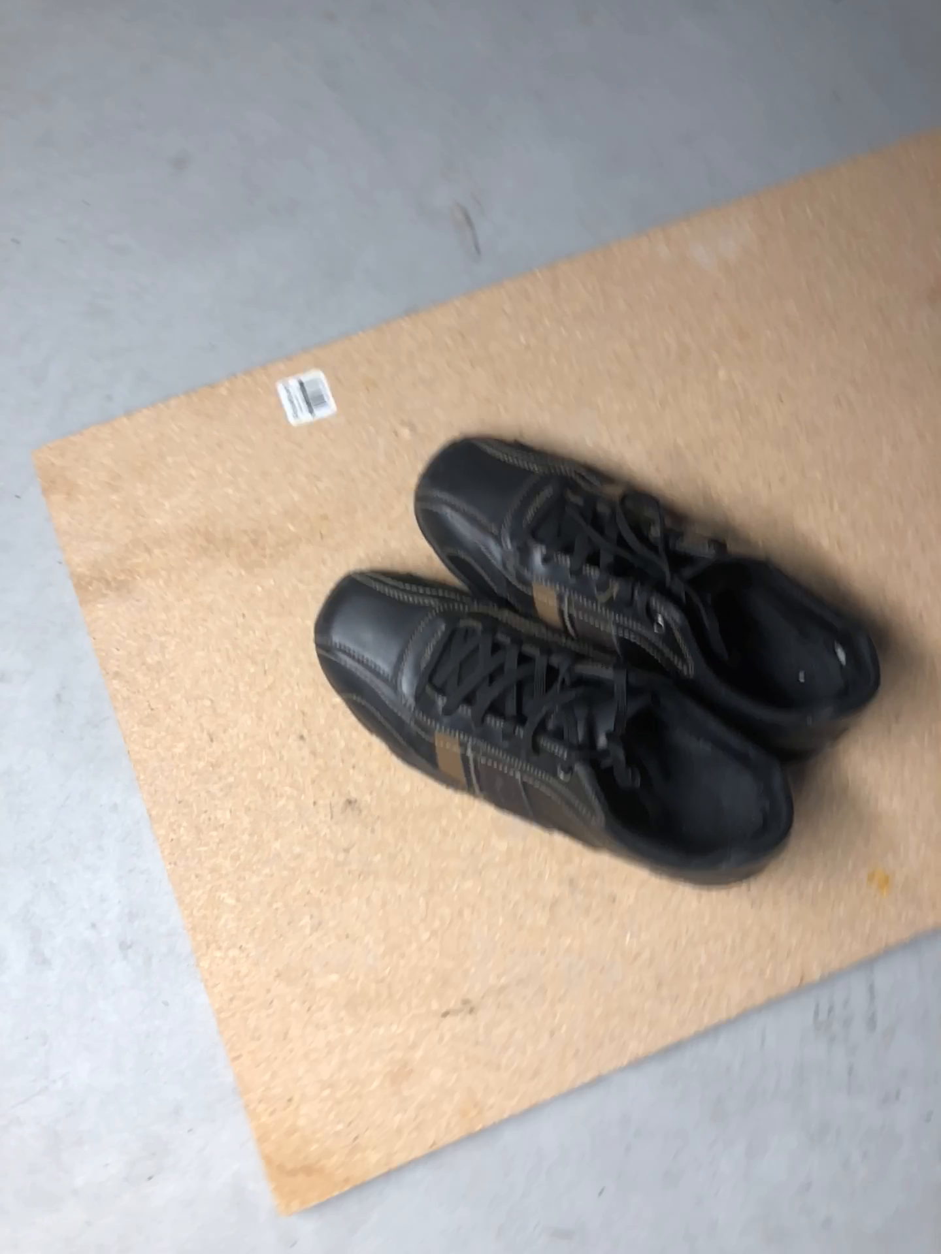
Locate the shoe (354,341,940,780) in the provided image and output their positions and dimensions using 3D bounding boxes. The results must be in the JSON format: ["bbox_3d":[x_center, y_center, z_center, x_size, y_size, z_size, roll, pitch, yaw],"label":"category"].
[{"bbox_3d":[0.092,-0.032,0.585,0.290,0.100,0.100,30,85,6],"label":"shoe"}]

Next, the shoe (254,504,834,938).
[{"bbox_3d":[0.037,0.057,0.606,0.300,0.100,0.100,28,75,10],"label":"shoe"}]
